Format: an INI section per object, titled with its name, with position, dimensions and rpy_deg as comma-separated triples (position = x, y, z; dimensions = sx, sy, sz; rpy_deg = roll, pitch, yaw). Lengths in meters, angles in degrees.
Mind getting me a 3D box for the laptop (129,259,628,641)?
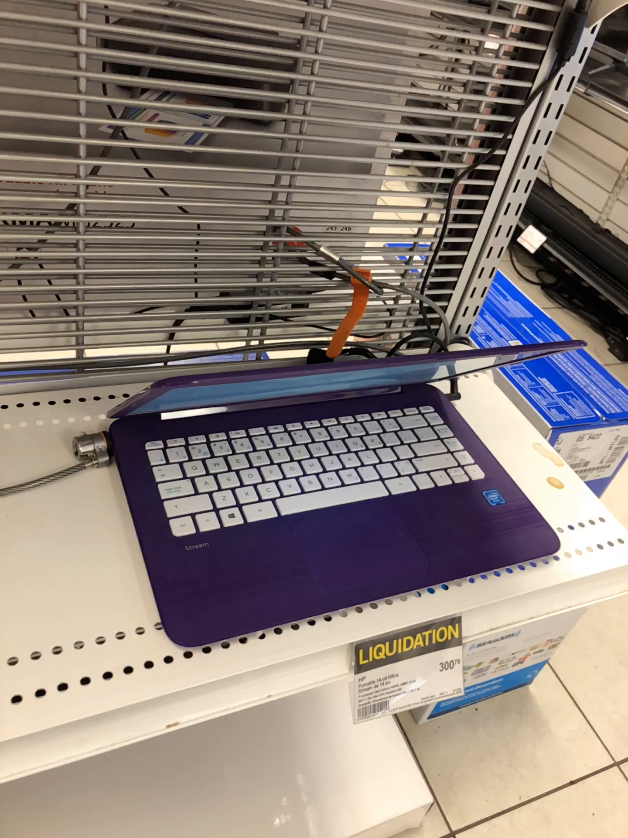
[laptop]
position = 0.036, -0.001, 0.525
dimensions = 0.305, 0.138, 0.207
rpy_deg = -7, 45, -24
